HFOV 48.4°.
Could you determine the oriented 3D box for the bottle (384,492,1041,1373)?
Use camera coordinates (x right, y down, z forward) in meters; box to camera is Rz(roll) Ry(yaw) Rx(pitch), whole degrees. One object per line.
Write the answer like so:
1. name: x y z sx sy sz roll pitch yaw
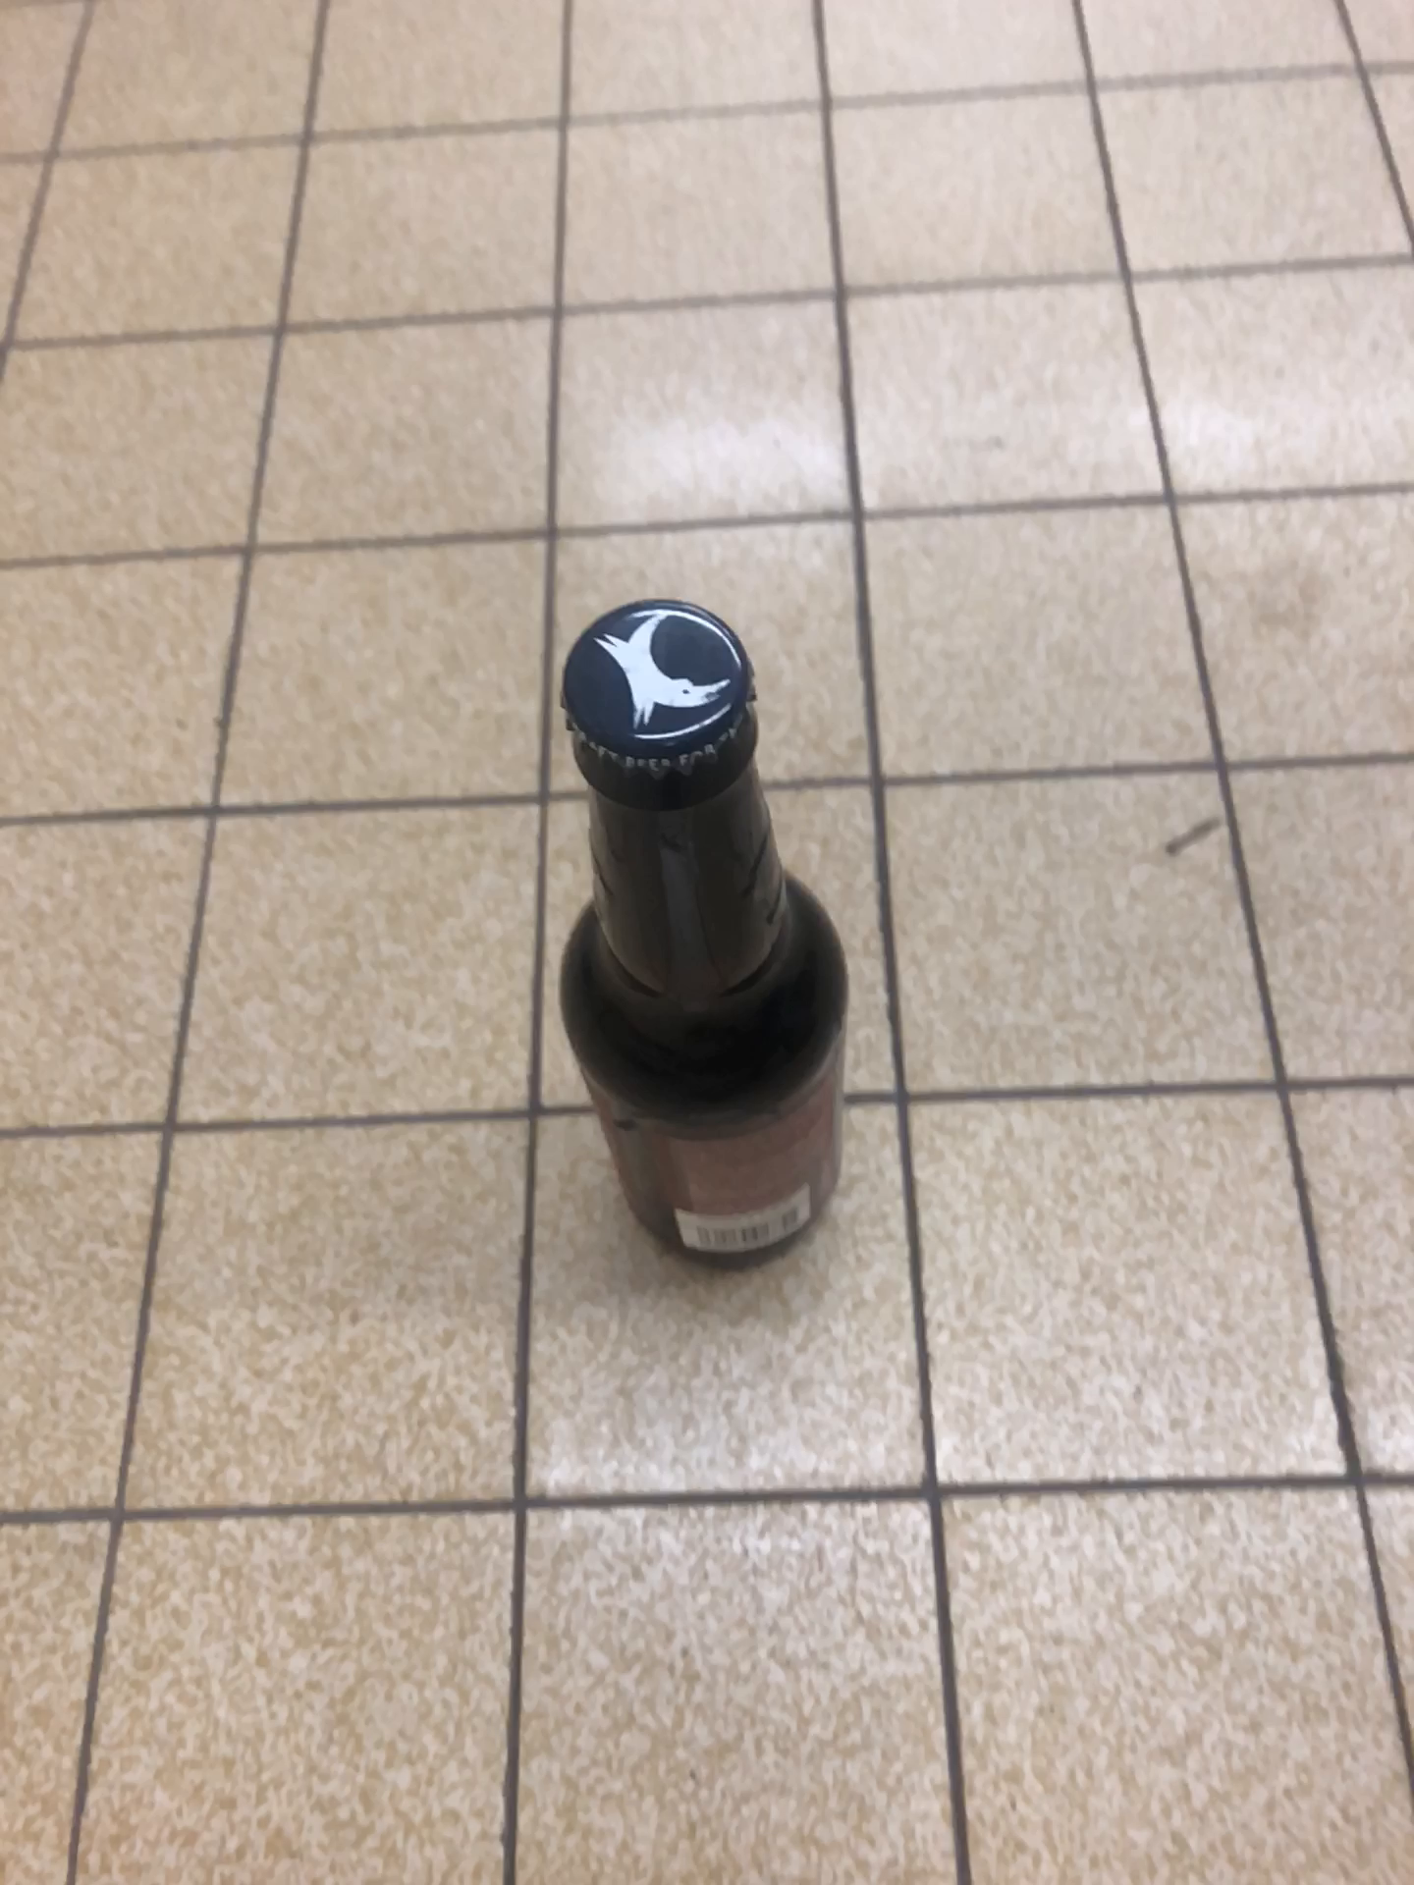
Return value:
1. bottle: 0.006 0.019 0.310 0.070 0.209 0.070 -2 64 4
